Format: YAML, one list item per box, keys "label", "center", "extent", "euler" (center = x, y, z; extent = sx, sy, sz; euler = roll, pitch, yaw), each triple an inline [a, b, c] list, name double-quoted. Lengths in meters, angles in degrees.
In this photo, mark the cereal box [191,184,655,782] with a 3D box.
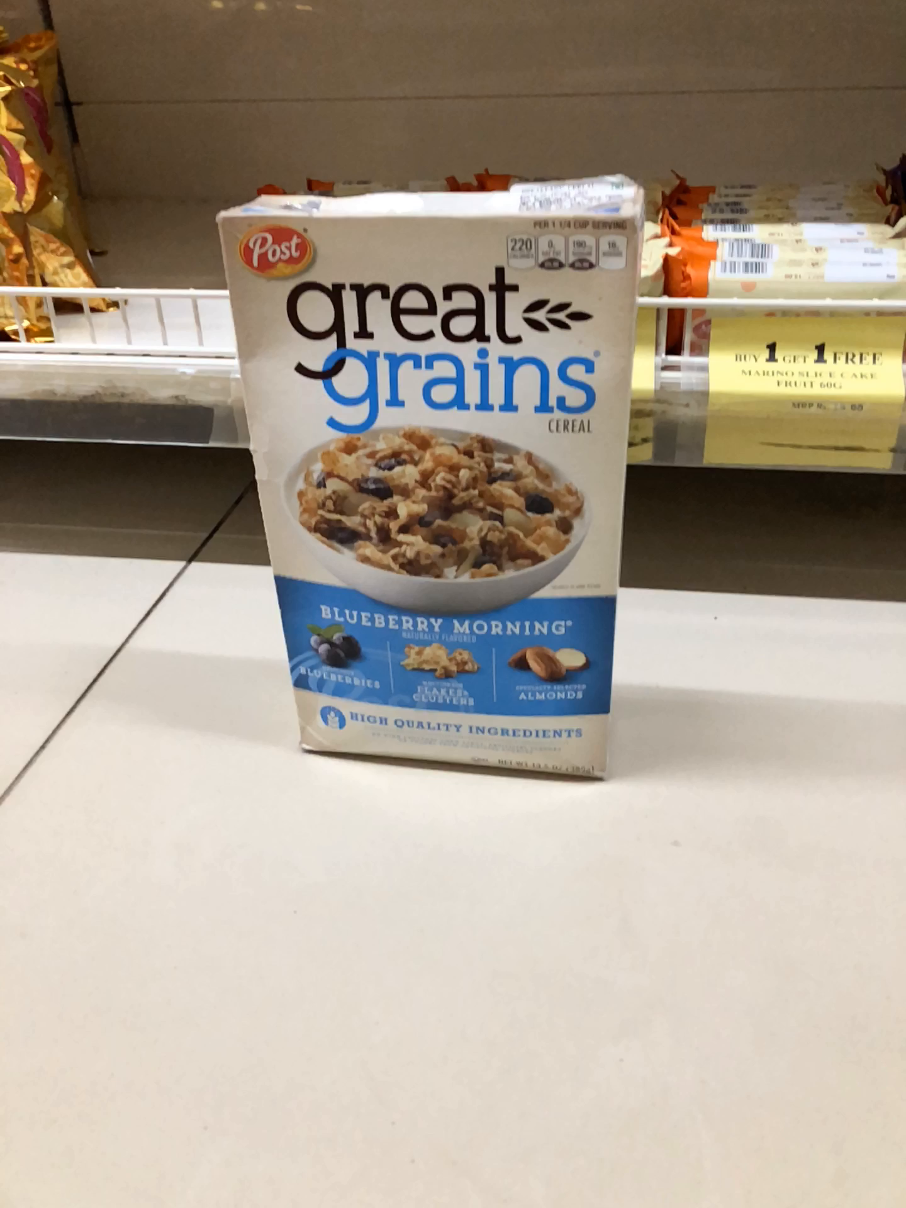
- label: "cereal box"
  center: [-0.004, -0.046, 0.451]
  extent: [0.170, 0.258, 0.060]
  euler: [3, 32, 9]
